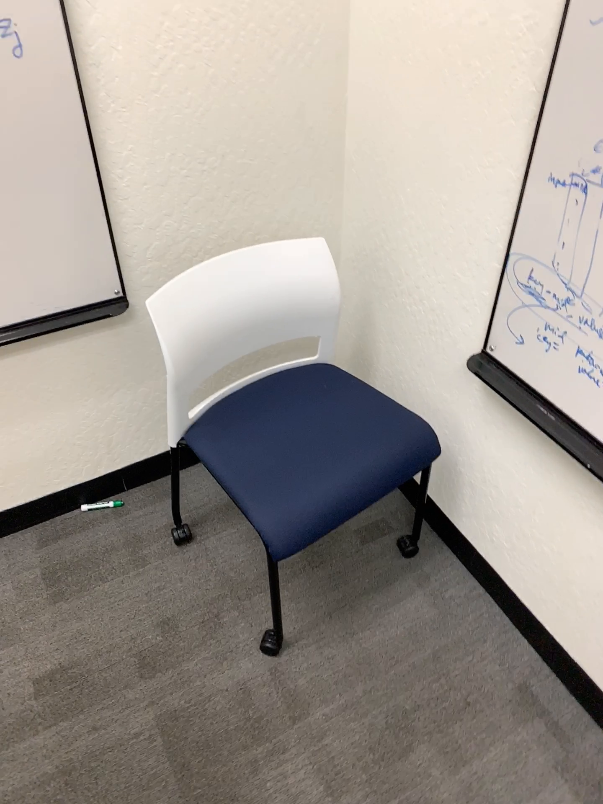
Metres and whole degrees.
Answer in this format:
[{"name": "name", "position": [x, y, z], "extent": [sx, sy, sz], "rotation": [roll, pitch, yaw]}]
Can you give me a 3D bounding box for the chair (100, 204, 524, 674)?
[{"name": "chair", "position": [0.012, 0.070, 1.646], "extent": [0.701, 0.835, 0.643], "rotation": [-27, 48, -27]}]
